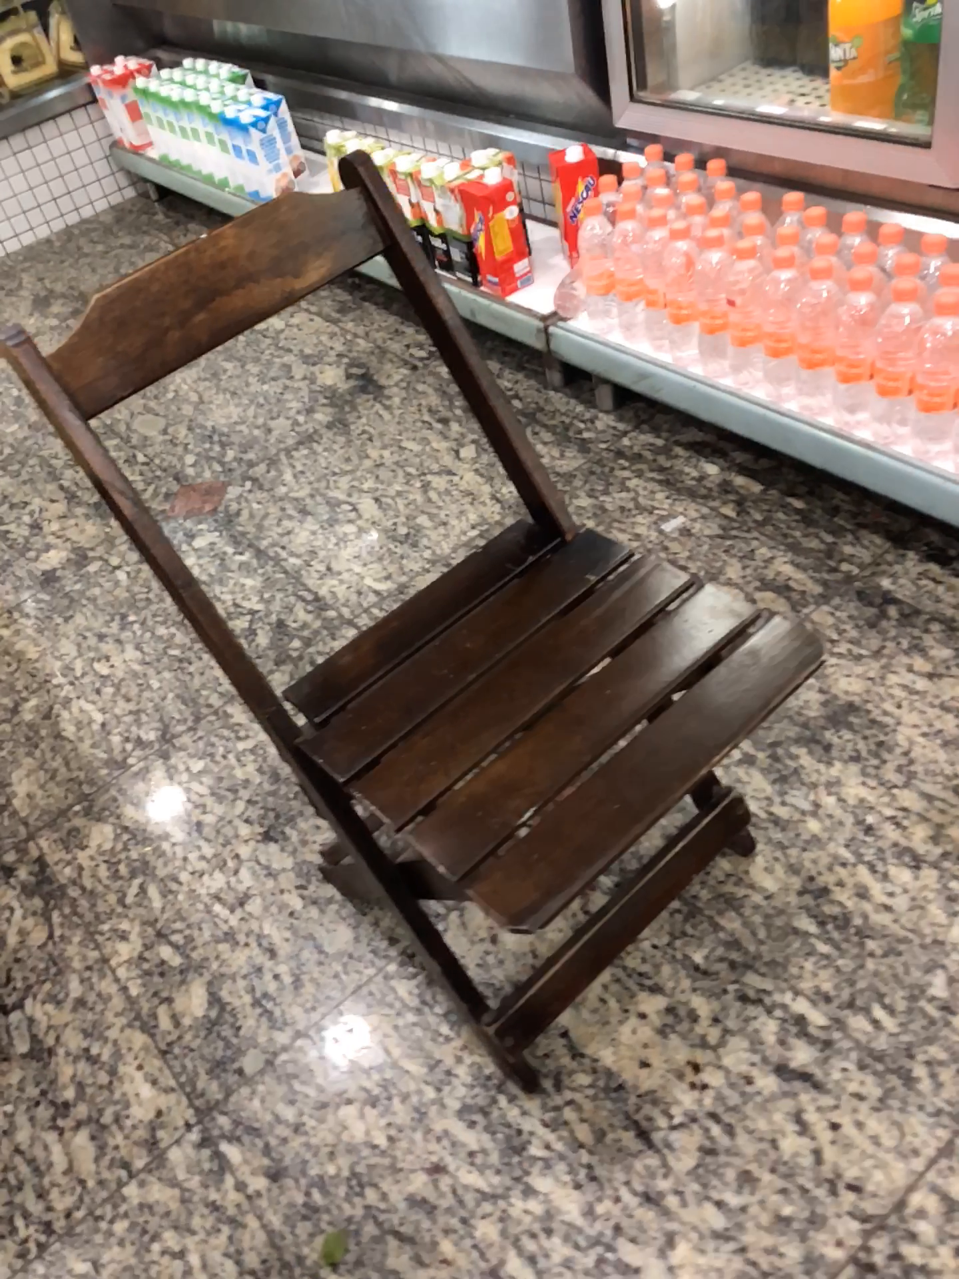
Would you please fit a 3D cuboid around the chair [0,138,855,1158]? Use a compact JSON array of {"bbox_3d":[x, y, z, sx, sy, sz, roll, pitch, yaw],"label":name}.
[{"bbox_3d":[-0.025,-0.004,1.012,0.441,0.705,0.553,-38,47,-23],"label":"chair"}]
